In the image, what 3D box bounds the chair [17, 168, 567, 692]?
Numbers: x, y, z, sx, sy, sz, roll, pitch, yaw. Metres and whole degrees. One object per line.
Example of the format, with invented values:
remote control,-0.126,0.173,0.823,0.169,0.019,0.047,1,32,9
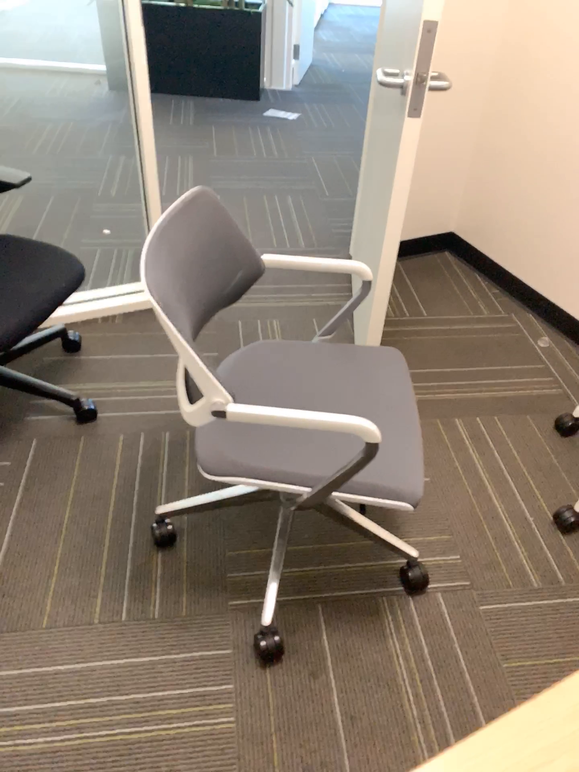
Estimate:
chair,0.017,0.065,1.321,0.730,0.766,0.805,6,40,3
